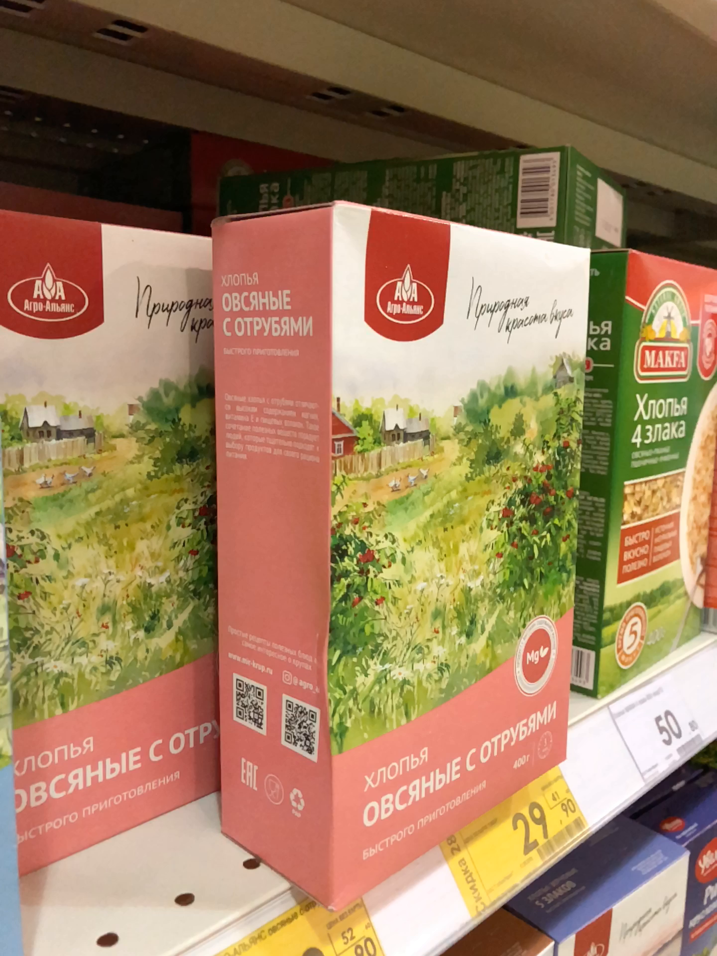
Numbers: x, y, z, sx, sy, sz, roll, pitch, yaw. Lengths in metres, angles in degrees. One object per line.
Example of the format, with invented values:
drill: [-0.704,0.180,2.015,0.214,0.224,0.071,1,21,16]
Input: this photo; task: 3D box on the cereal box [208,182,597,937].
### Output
cereal box: [0.020,0.019,0.282,0.060,0.209,0.130,8,11,44]
